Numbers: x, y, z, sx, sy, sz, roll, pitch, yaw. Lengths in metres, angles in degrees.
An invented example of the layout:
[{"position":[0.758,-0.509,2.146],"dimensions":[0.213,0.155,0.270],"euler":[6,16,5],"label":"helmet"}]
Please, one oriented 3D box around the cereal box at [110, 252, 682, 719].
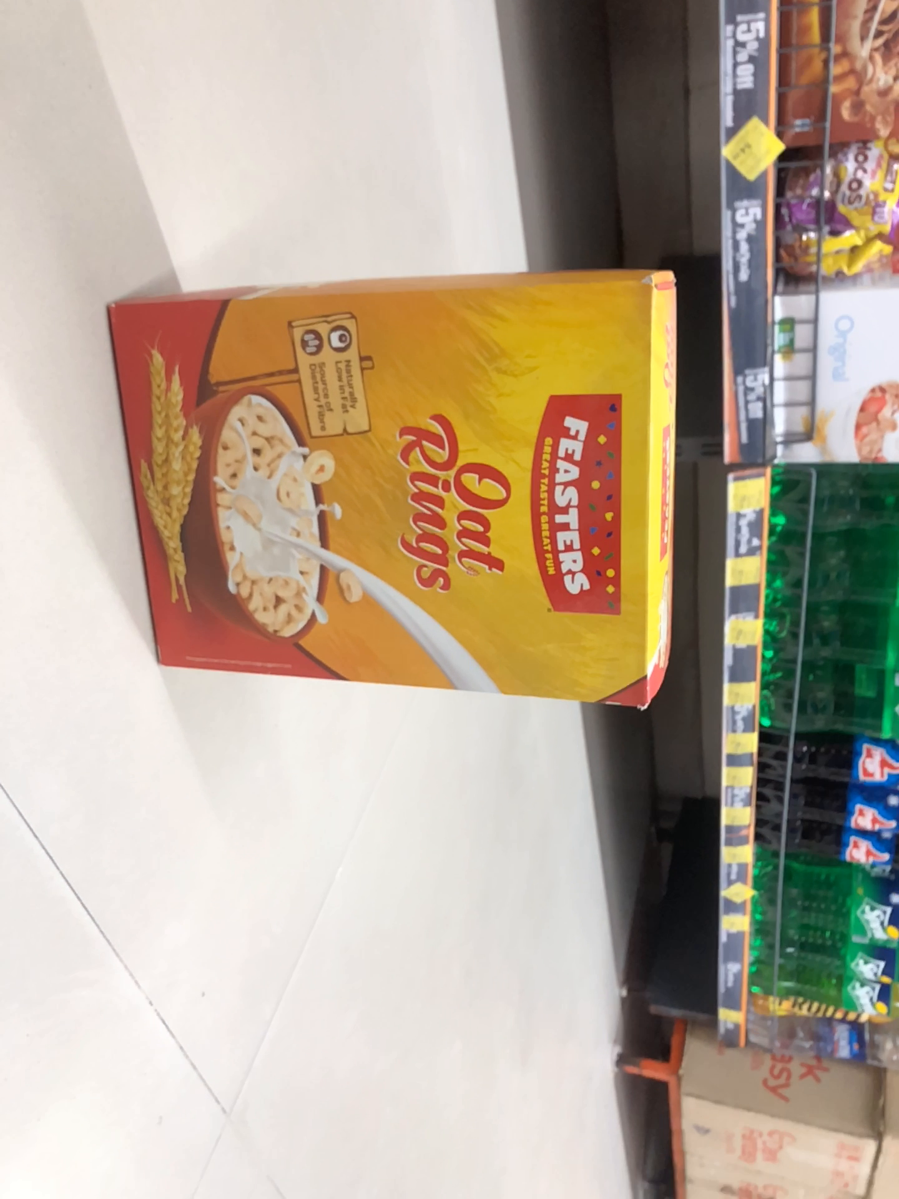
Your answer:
[{"position":[-0.017,-0.049,0.424],"dimensions":[0.070,0.219,0.170],"euler":[-43,133,-67],"label":"cereal box"}]
